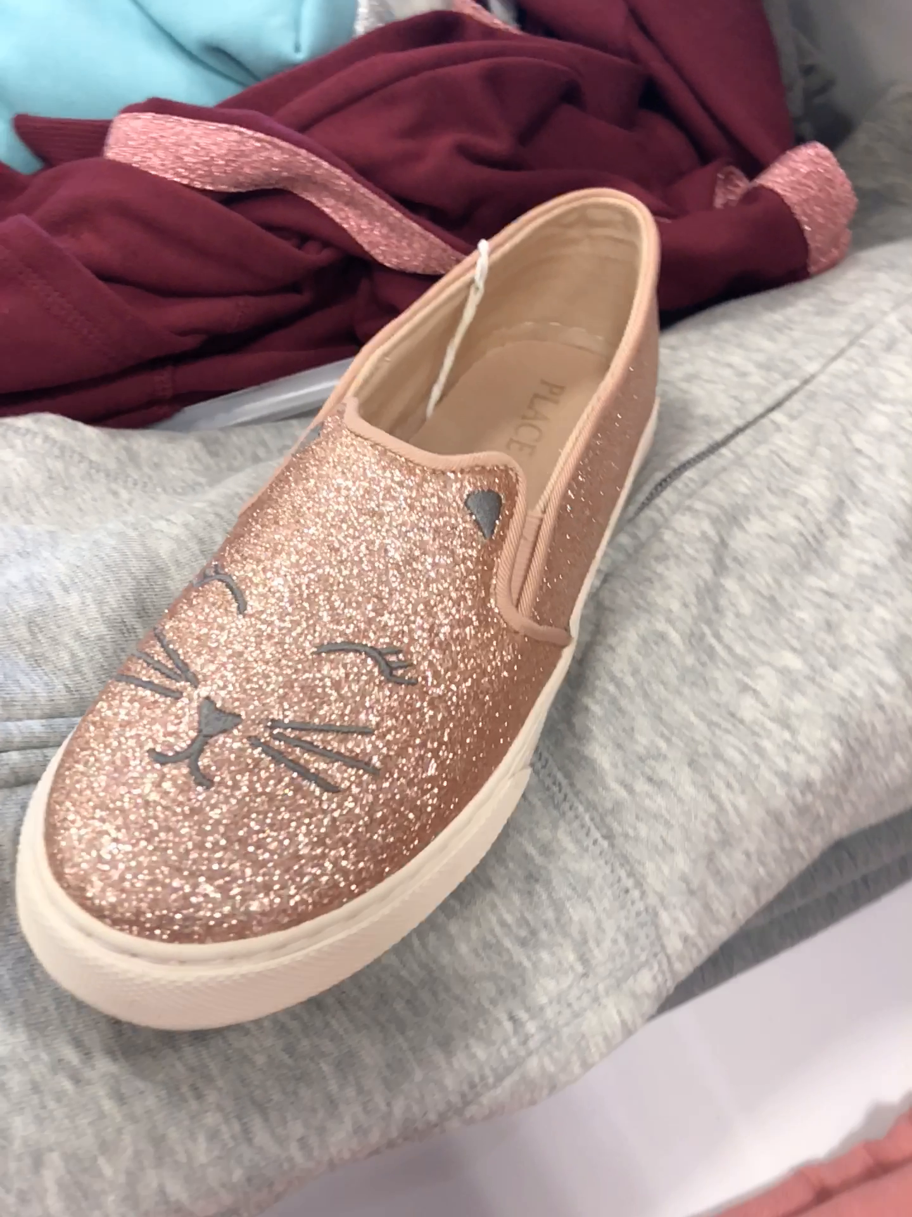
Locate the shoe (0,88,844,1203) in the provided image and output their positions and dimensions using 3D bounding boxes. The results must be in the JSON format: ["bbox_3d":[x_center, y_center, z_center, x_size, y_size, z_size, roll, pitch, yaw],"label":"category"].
[{"bbox_3d":[-0.006,-0.014,0.218,0.090,0.080,0.221,29,54,11],"label":"shoe"}]
